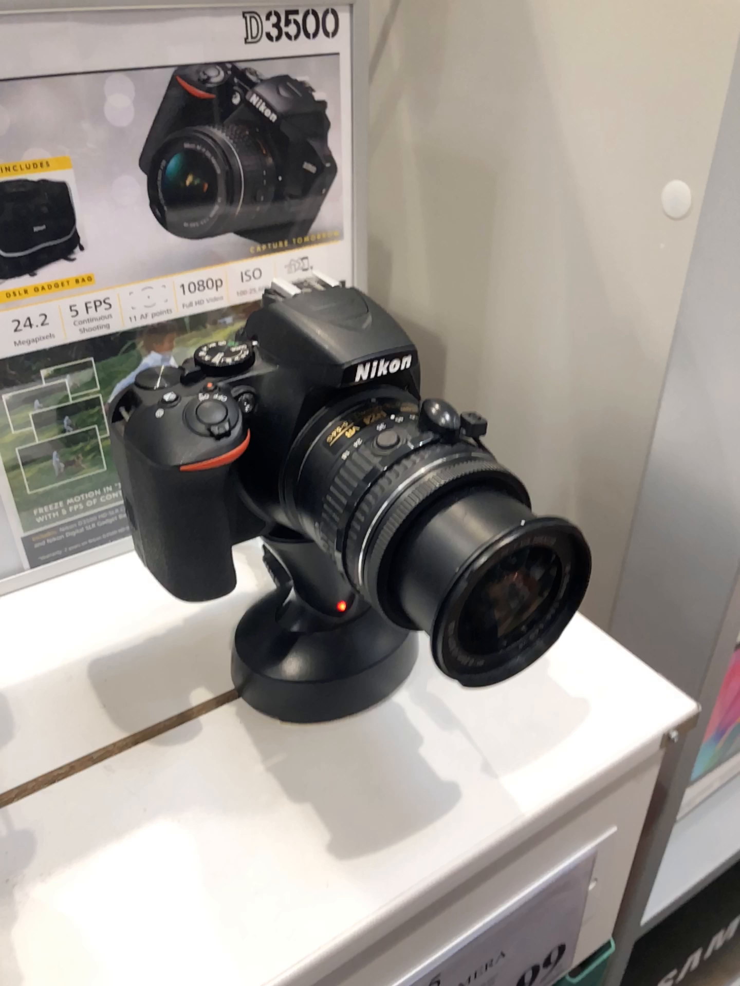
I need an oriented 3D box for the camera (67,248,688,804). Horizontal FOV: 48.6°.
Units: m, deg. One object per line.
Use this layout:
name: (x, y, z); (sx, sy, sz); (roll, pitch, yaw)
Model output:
camera: (-0.005, -0.008, 0.271); (0.130, 0.089, 0.141); (-20, 39, -28)
